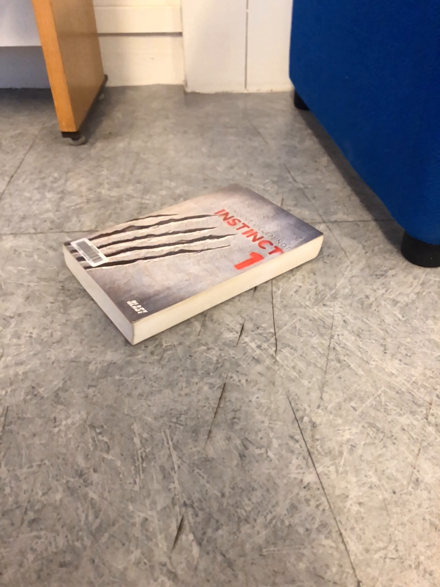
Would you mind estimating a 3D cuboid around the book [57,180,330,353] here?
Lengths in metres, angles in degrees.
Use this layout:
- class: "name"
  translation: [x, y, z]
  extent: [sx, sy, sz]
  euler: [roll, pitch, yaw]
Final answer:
- class: "book"
  translation: [-0.024, -0.041, 0.461]
  extent: [0.211, 0.028, 0.142]
  euler: [-25, 45, -27]
